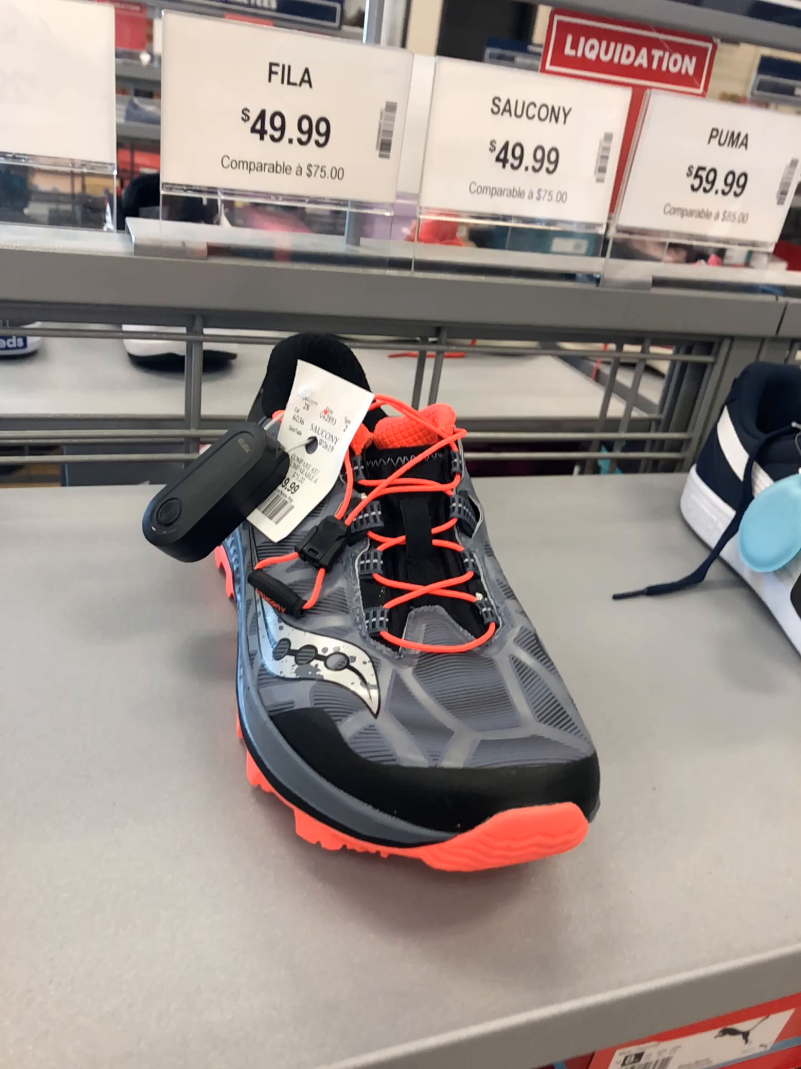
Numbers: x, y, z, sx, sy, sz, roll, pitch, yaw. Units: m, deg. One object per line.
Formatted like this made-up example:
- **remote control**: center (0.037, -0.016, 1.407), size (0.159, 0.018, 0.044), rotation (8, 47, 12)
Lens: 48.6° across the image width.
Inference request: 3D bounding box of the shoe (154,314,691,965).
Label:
- **shoe**: center (-0.028, 0.004, 0.371), size (0.110, 0.109, 0.292), rotation (-3, 30, -22)
